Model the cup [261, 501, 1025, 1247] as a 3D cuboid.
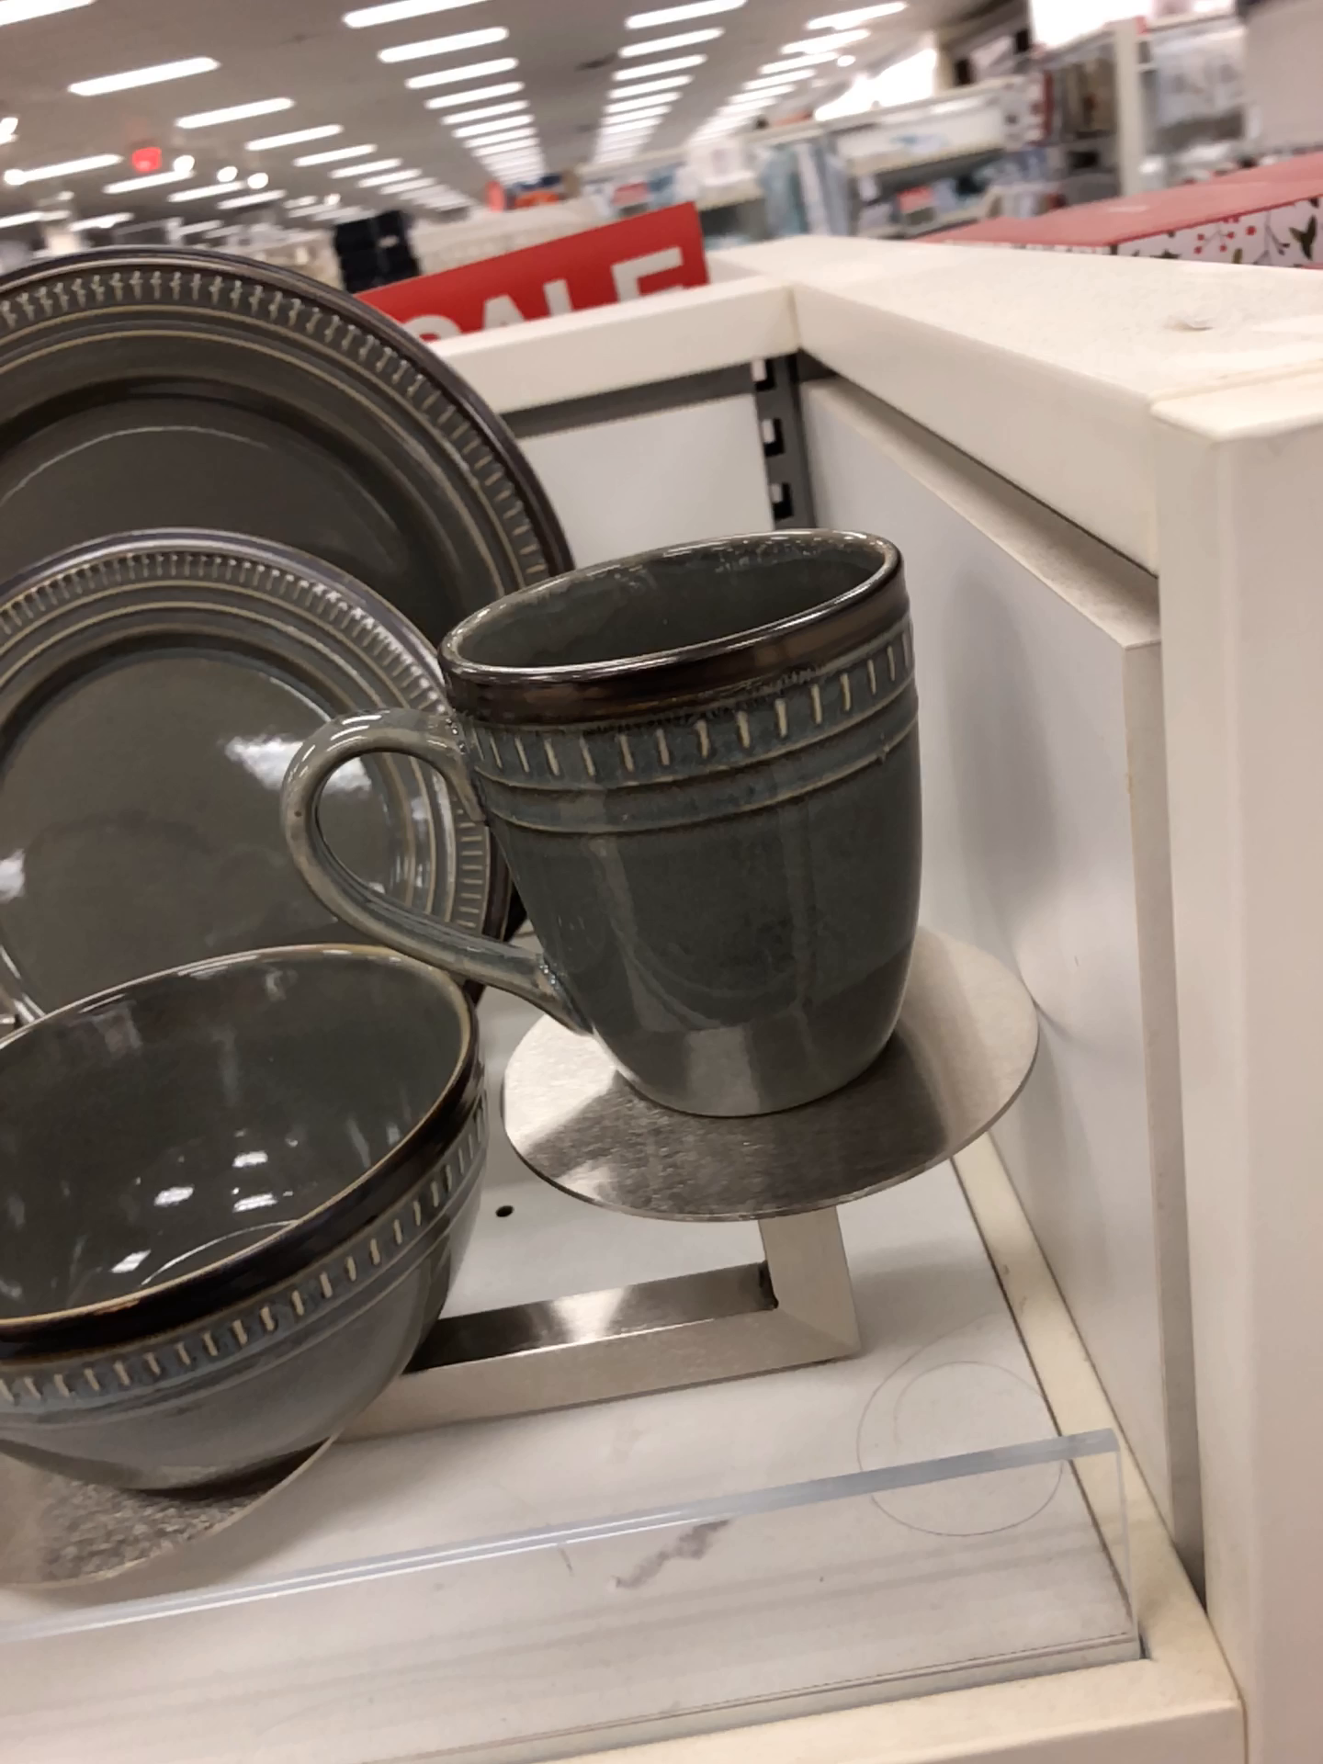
[{"bbox_3d":[-0.005,-0.009,0.314,0.126,0.106,0.089,-15,23,-7],"label":"cup"}]
